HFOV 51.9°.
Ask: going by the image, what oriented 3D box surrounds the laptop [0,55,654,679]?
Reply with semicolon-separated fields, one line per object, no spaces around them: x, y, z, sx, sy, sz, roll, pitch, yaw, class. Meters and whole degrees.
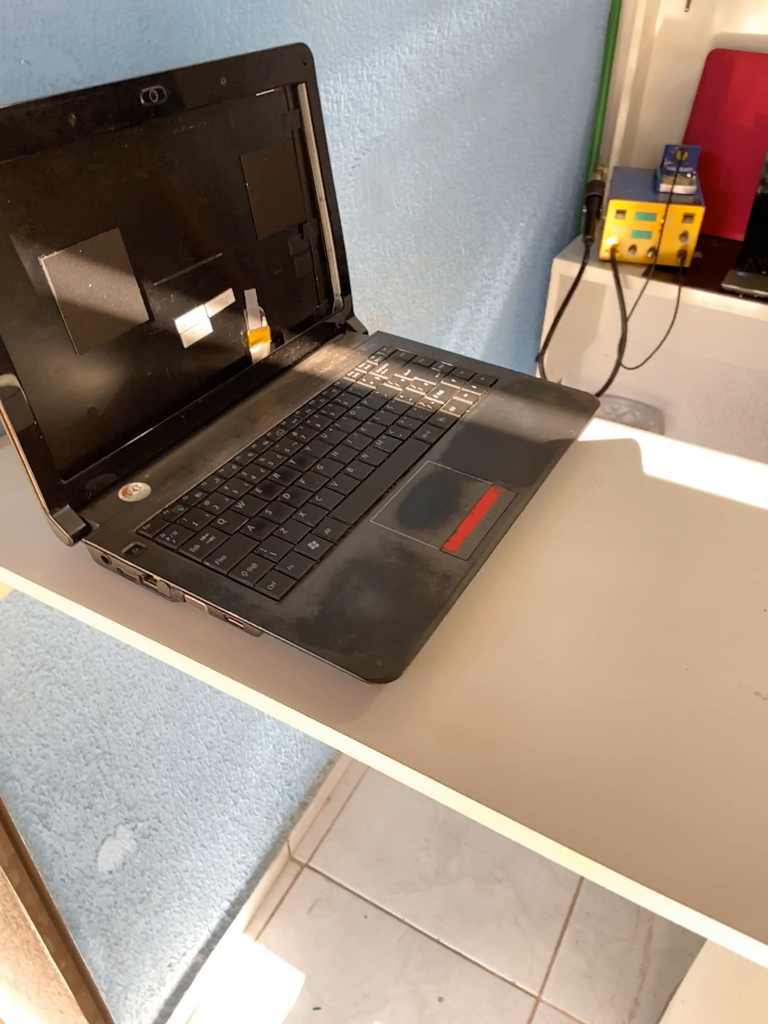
-0.034;-0.132;0.504;0.276;0.216;0.336;21;41;22;laptop
